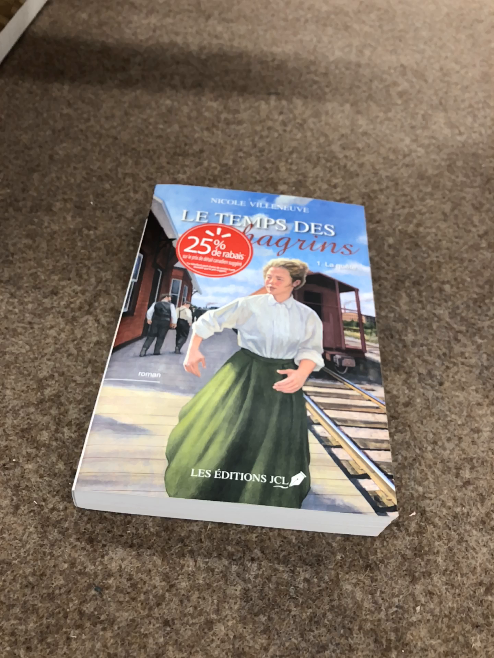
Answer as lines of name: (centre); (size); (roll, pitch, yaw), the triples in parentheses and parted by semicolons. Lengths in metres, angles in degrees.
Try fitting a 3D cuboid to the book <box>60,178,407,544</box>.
book: (0.001, 0.000, 0.326); (0.155, 0.030, 0.225); (6, 52, -1)
